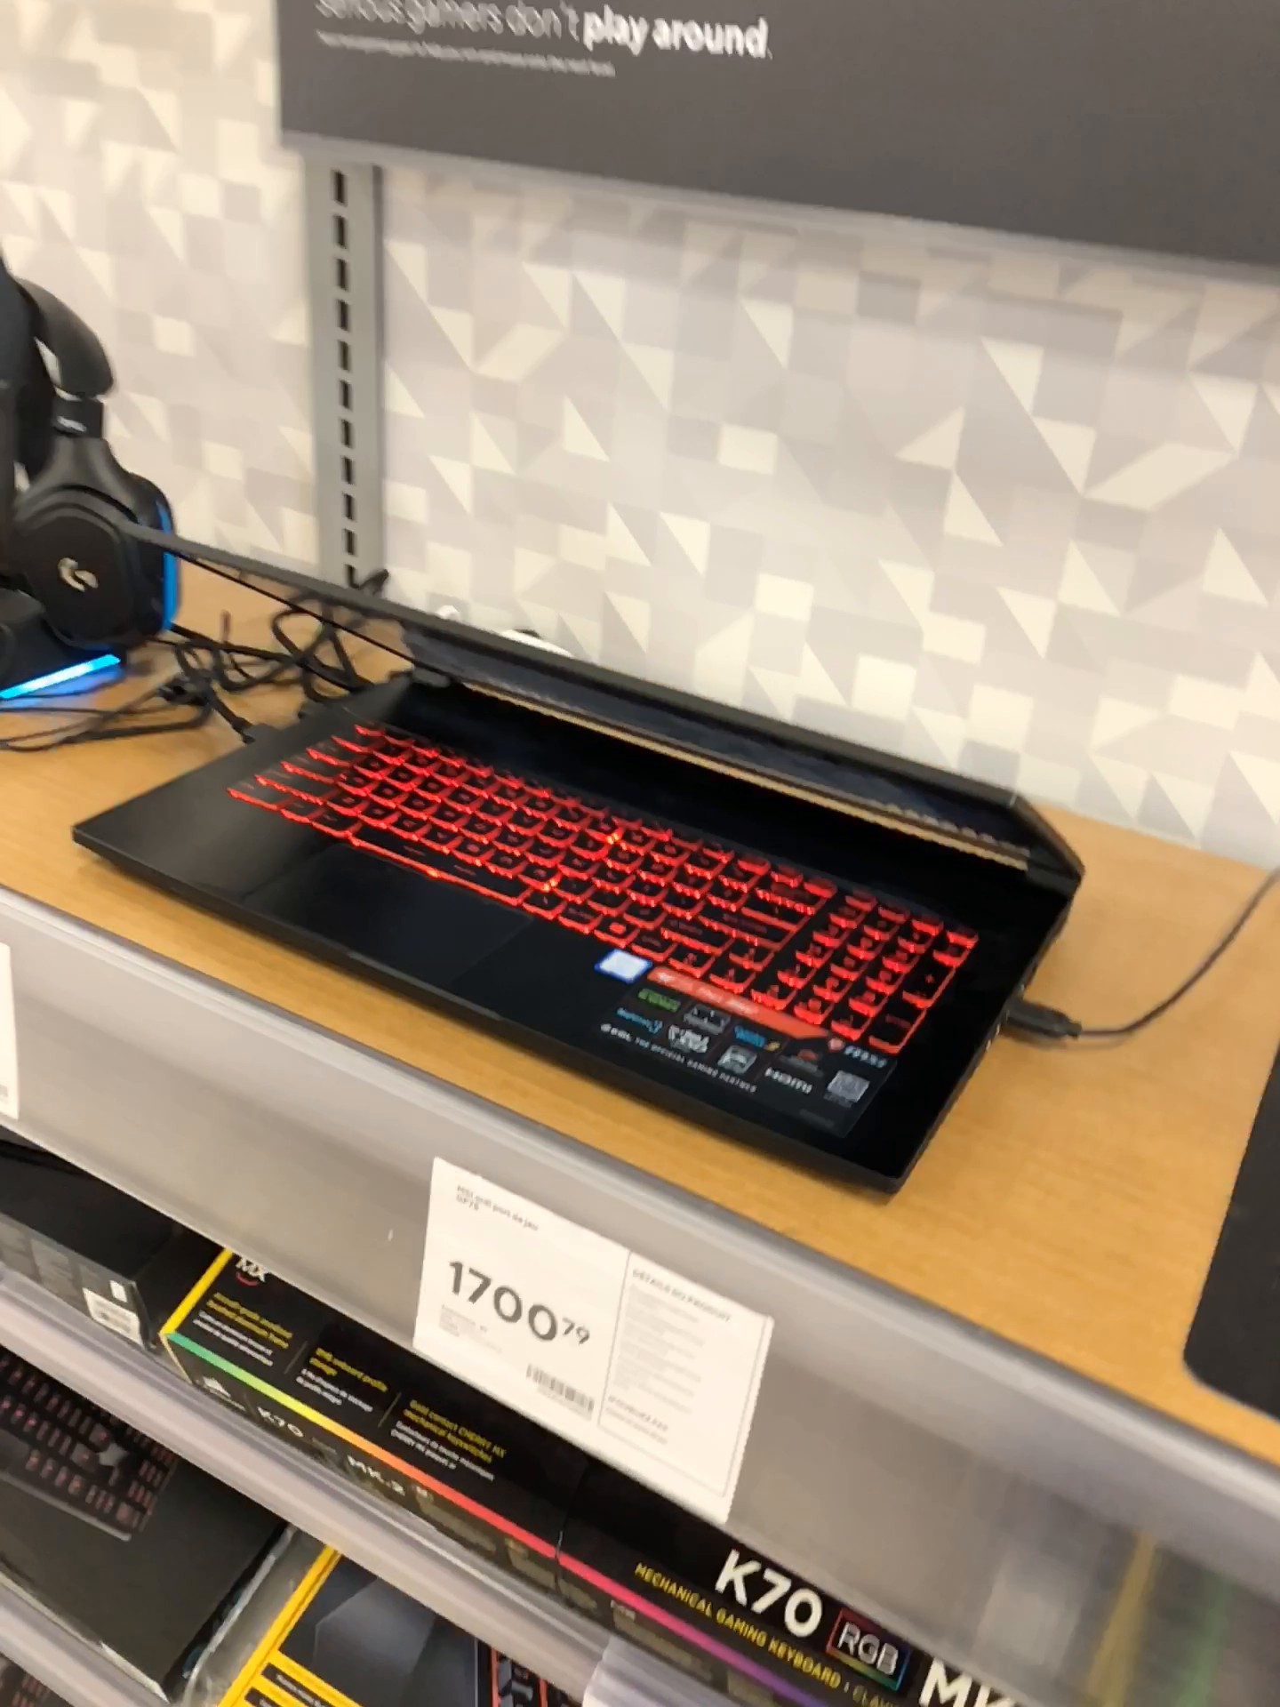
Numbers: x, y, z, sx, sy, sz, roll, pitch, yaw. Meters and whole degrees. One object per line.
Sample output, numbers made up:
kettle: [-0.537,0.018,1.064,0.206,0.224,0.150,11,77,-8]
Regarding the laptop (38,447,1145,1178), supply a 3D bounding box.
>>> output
laptop: [-0.019,-0.056,0.619,0.393,0.133,0.248,19,32,24]
